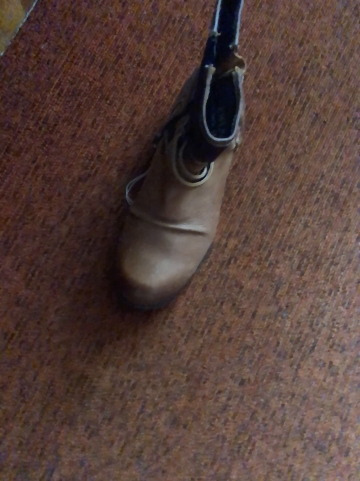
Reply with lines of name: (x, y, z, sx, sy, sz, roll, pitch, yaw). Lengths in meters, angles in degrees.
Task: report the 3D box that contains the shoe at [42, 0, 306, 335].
shoe: (0.001, -0.068, 0.390, 0.110, 0.190, 0.280, 19, 80, 2)
